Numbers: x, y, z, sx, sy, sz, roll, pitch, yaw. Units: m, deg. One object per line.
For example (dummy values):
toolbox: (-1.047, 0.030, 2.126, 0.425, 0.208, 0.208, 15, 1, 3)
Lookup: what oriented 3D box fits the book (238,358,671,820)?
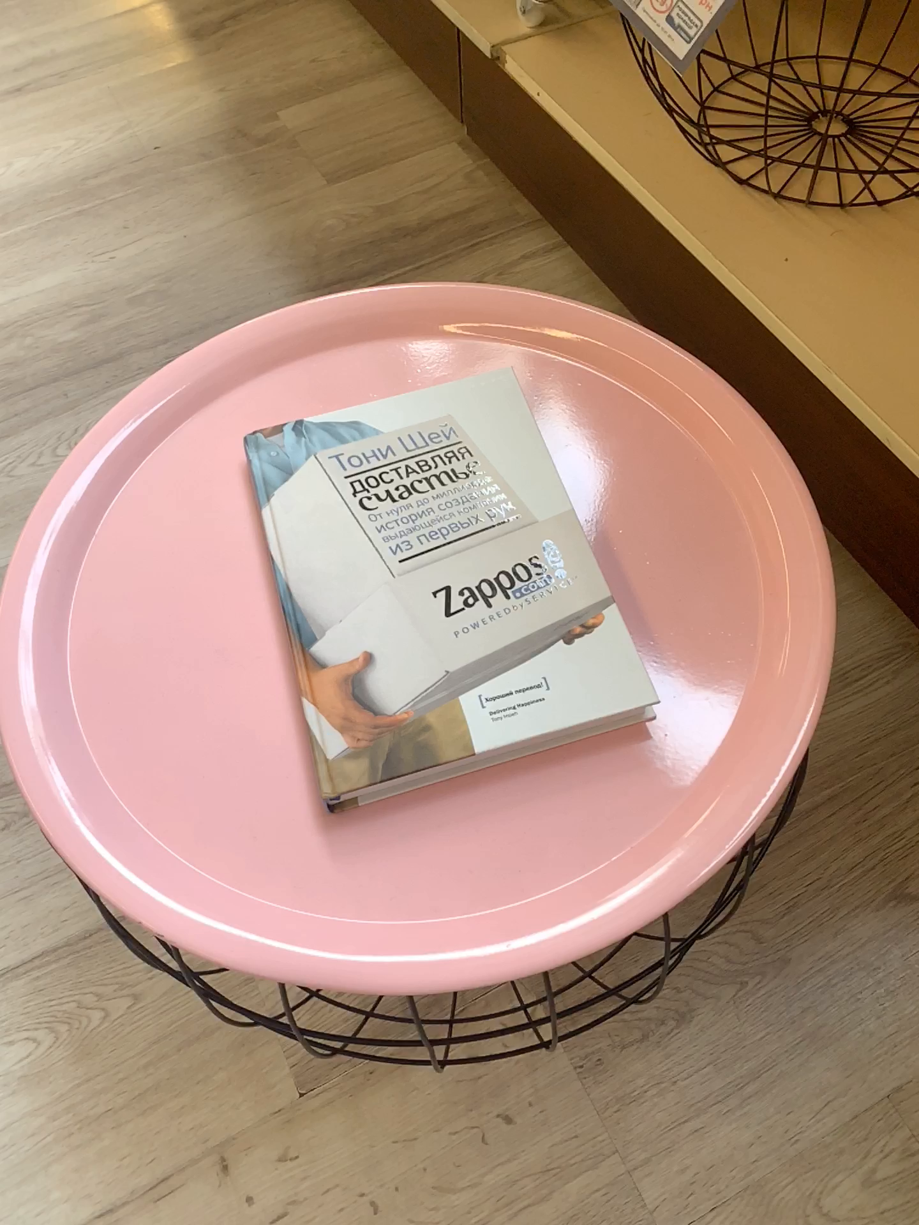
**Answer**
book: (-0.013, -0.026, 0.501, 0.170, 0.030, 0.232, -15, 59, -5)
